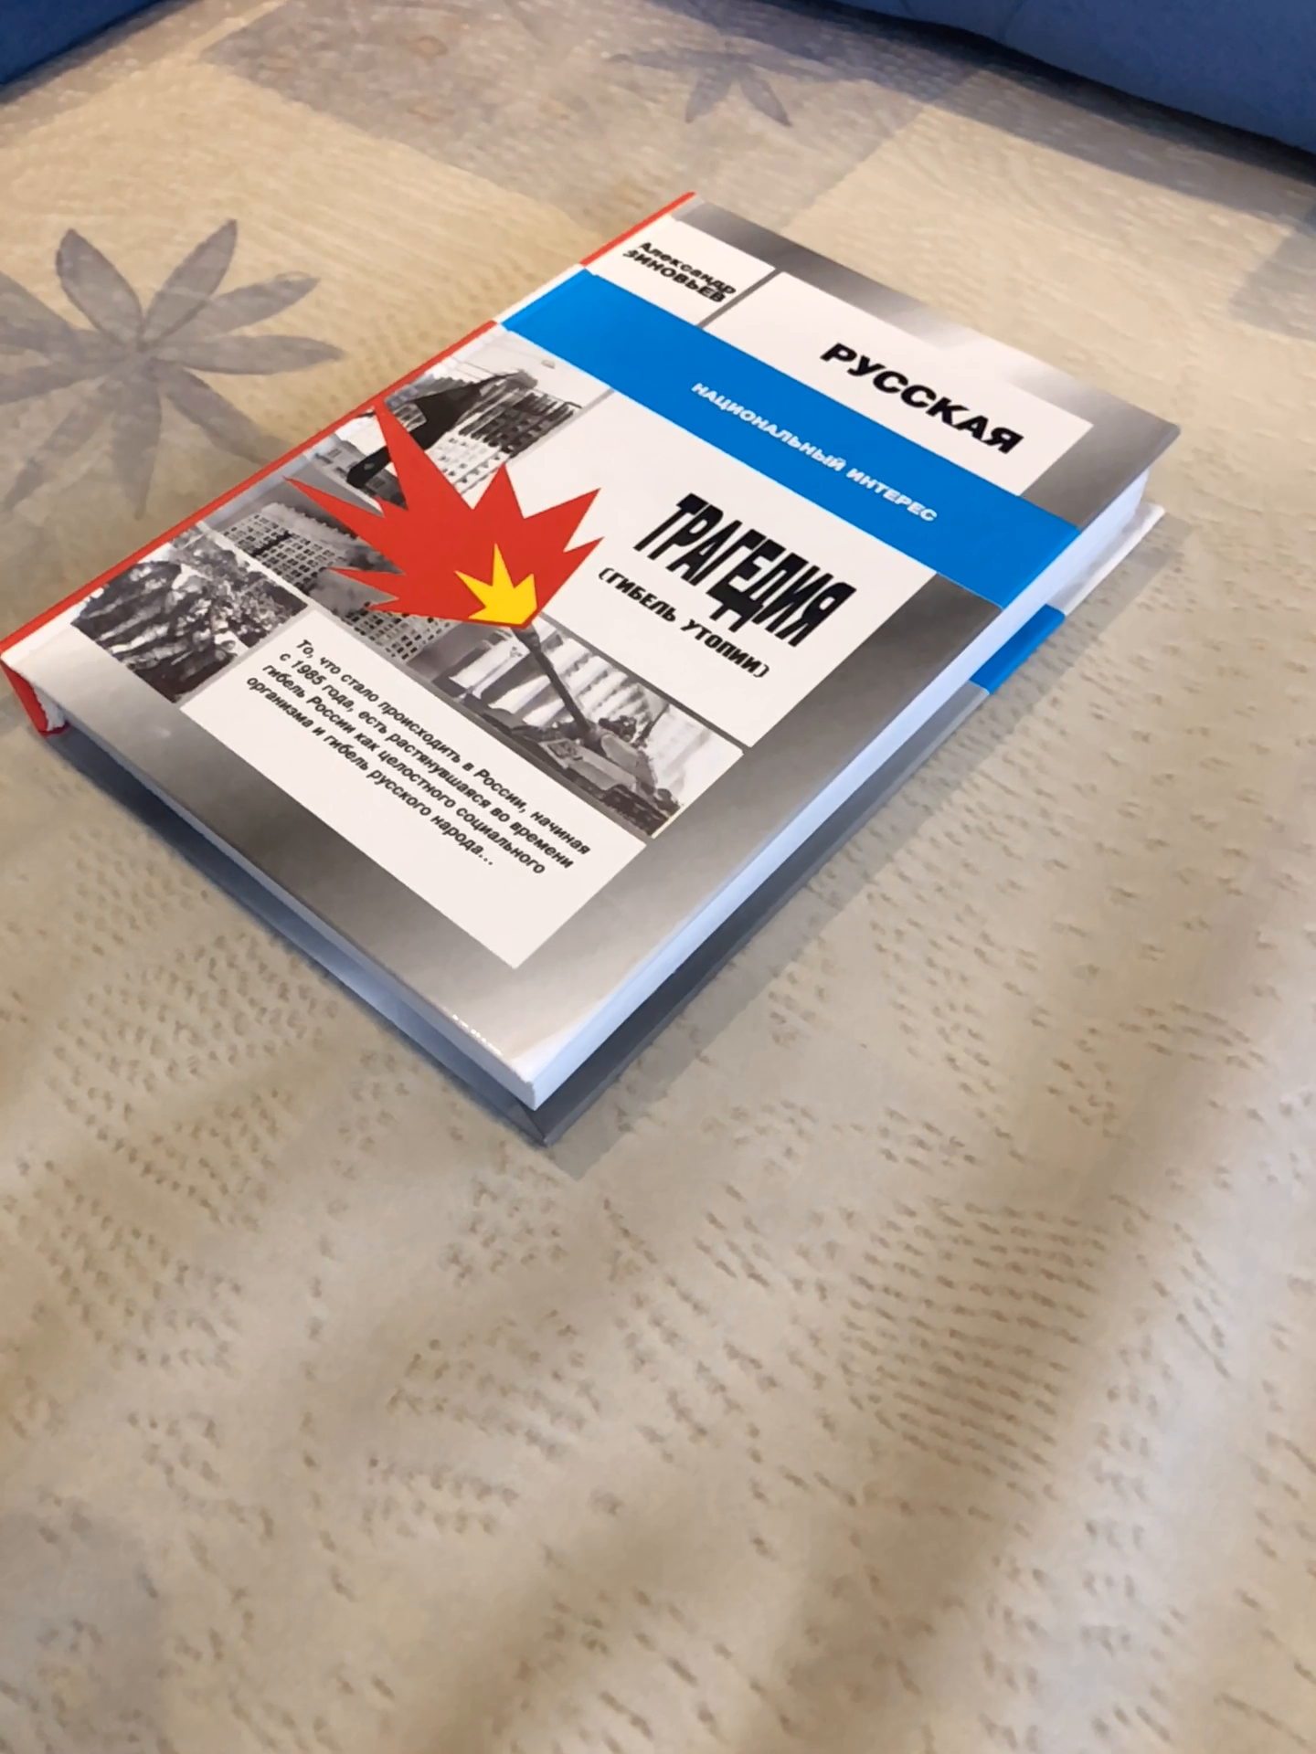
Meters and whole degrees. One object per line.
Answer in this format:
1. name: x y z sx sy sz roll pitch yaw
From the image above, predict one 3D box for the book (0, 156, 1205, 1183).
1. book: -0.013 -0.064 0.304 0.160 0.040 0.201 35 62 24
